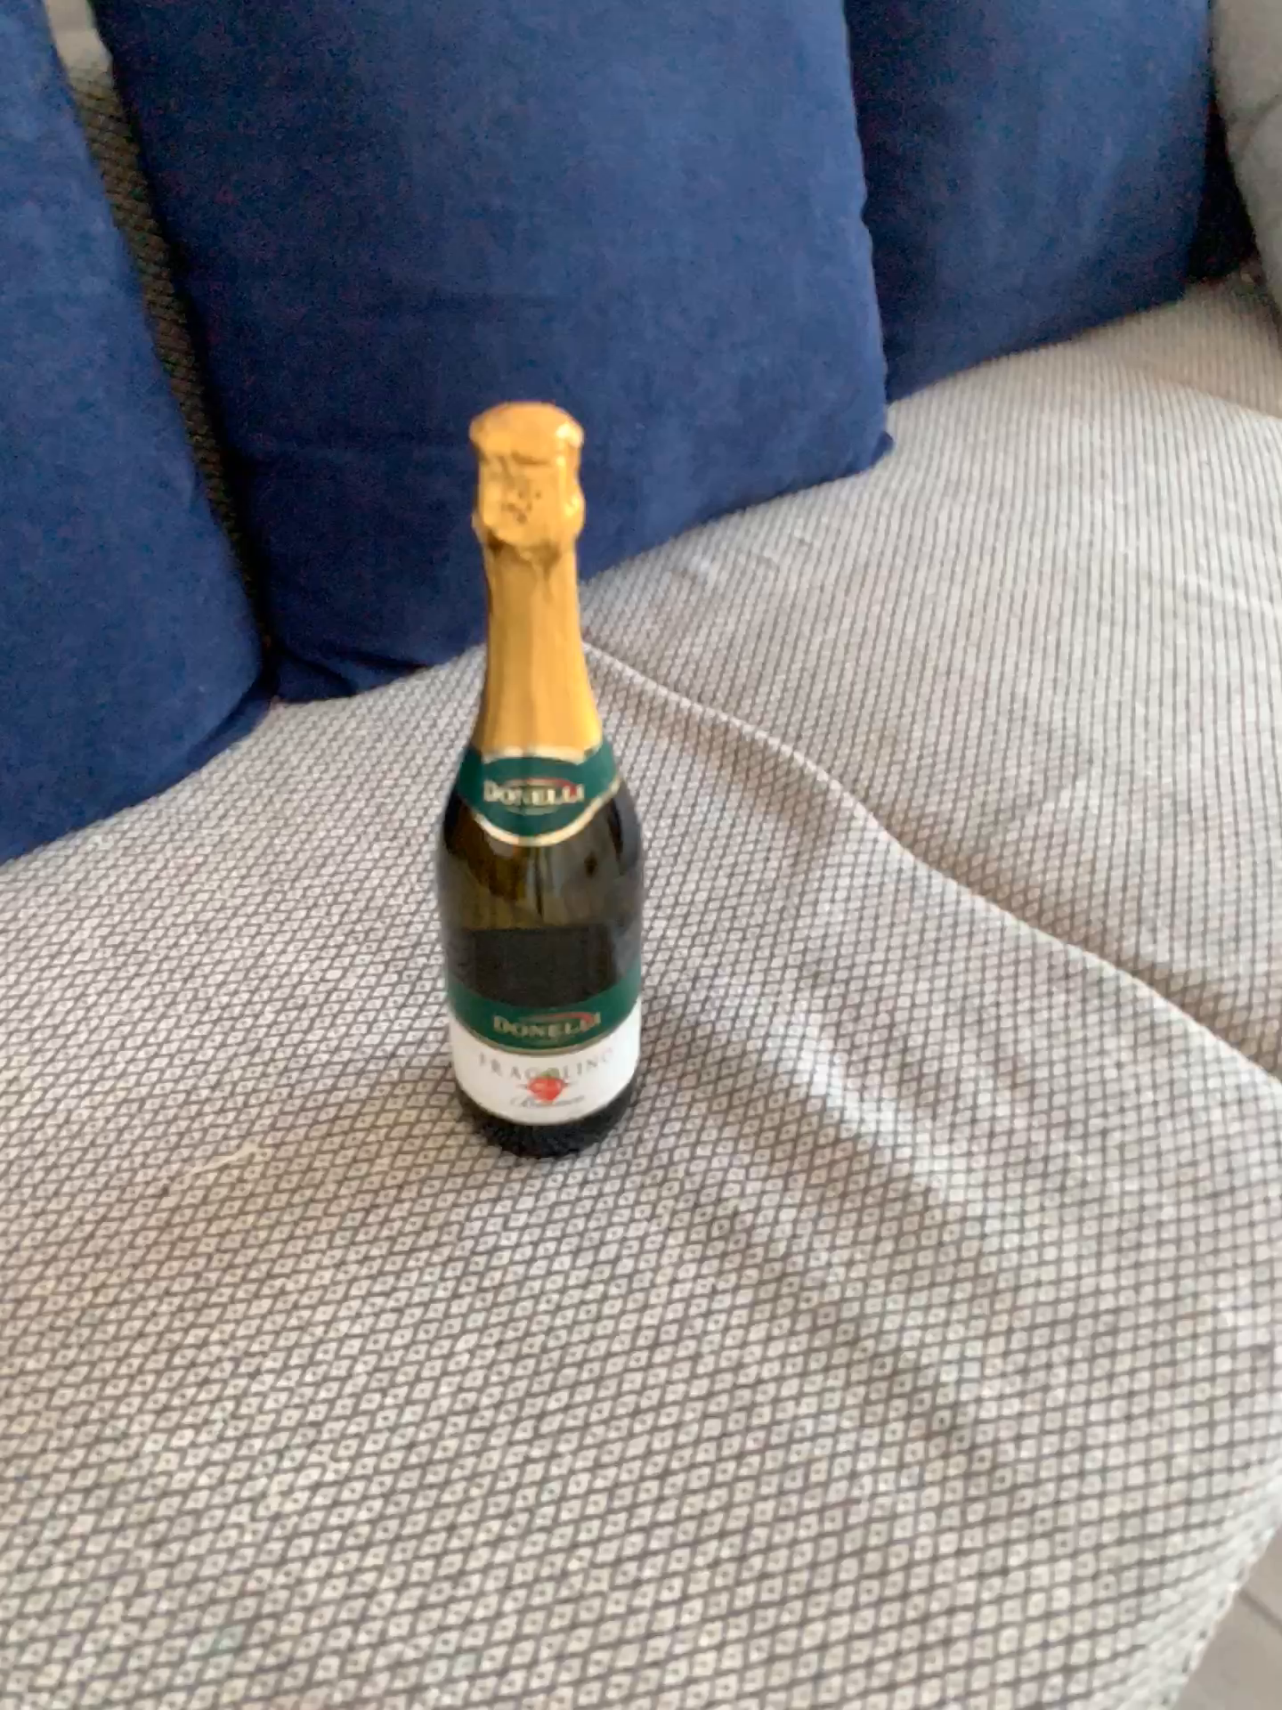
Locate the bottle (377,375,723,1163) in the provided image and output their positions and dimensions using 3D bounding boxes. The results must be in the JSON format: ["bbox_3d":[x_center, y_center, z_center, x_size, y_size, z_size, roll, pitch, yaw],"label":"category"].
[{"bbox_3d":[-0.029,-0.012,0.470,0.090,0.289,0.090,1,42,-1],"label":"bottle"}]
